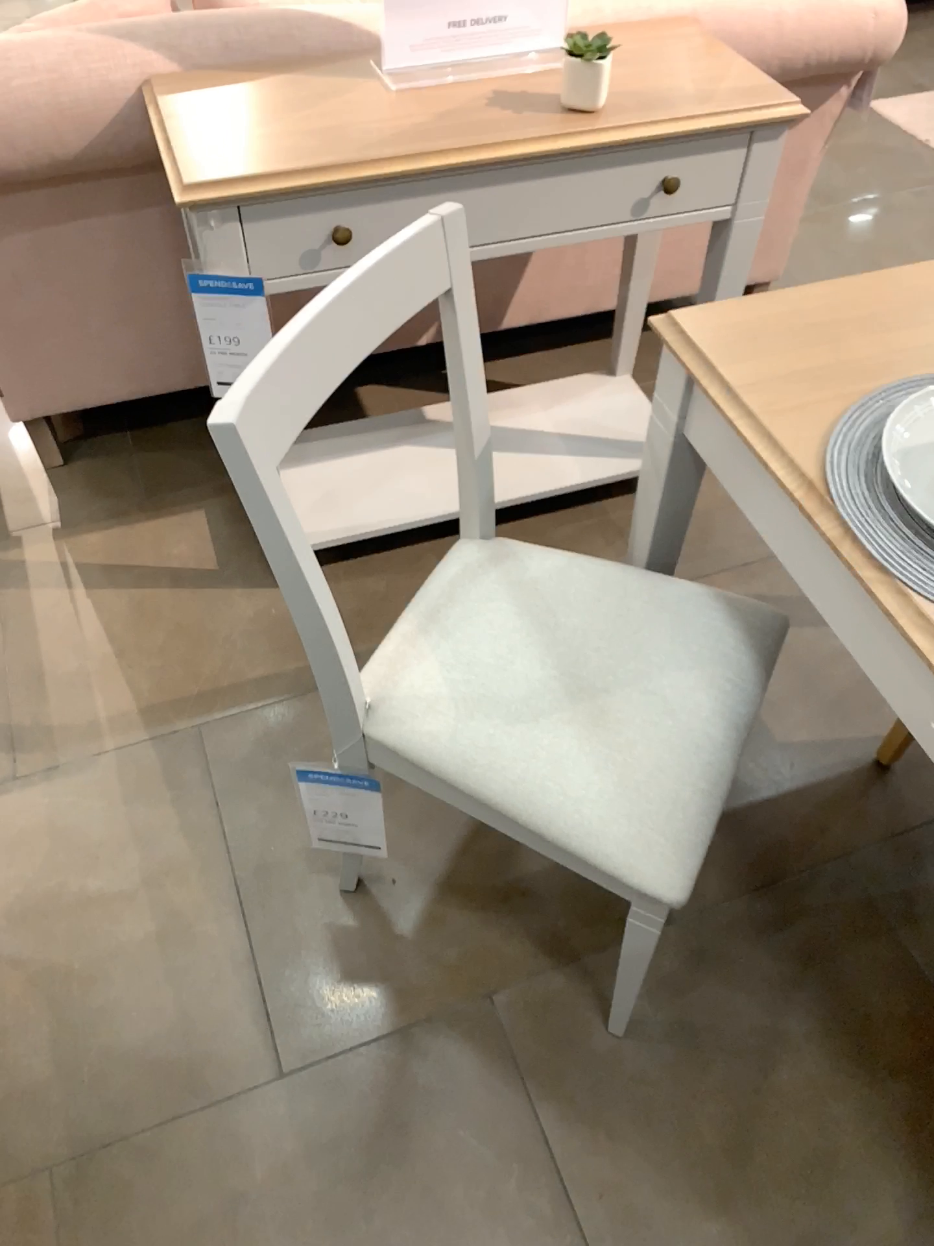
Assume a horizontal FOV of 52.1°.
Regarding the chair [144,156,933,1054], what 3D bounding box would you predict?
[{"bbox_3d":[0.079,0.028,1.109,0.508,0.832,0.464,23,53,18],"label":"chair"}]
